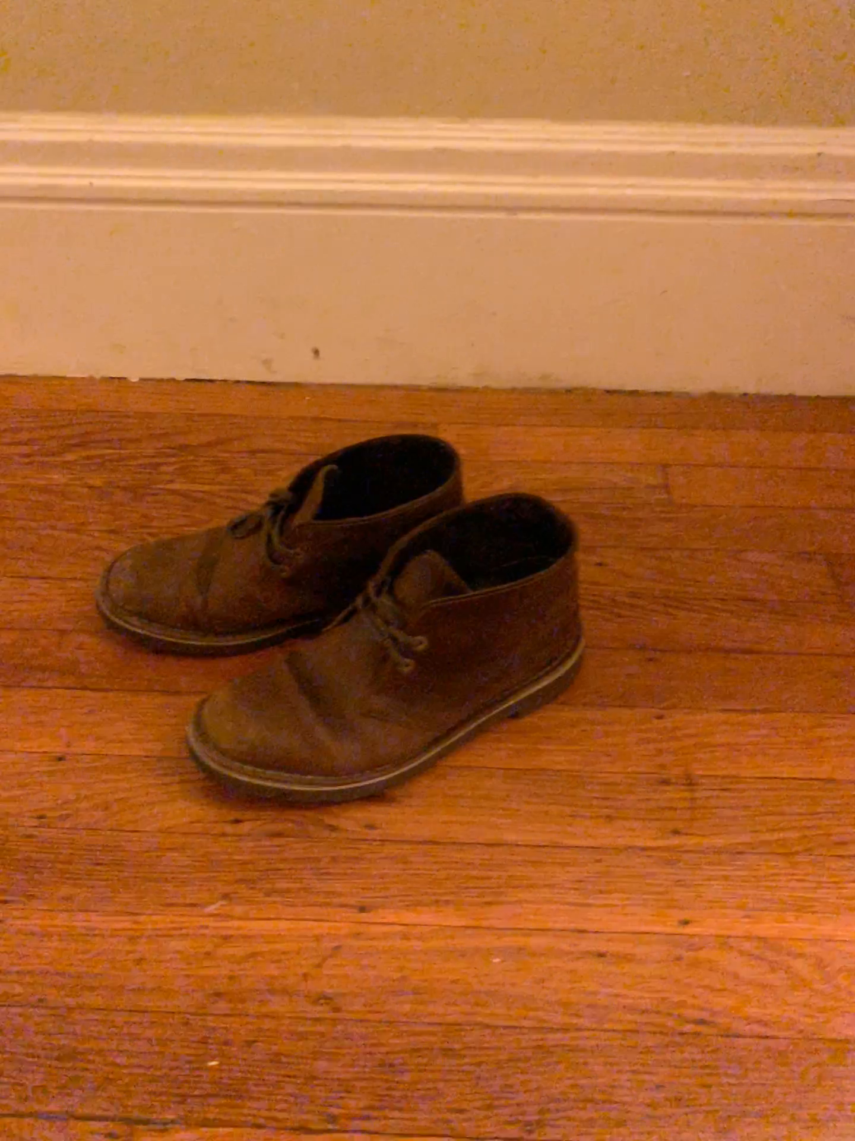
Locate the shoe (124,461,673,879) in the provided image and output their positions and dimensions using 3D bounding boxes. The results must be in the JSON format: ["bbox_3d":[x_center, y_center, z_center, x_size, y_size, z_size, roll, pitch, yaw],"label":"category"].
[{"bbox_3d":[-0.014,0.054,0.560,0.300,0.119,0.121,-20,51,-18],"label":"shoe"}]

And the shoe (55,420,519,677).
[{"bbox_3d":[-0.092,-0.017,0.636,0.290,0.119,0.121,-3,48,-4],"label":"shoe"}]
